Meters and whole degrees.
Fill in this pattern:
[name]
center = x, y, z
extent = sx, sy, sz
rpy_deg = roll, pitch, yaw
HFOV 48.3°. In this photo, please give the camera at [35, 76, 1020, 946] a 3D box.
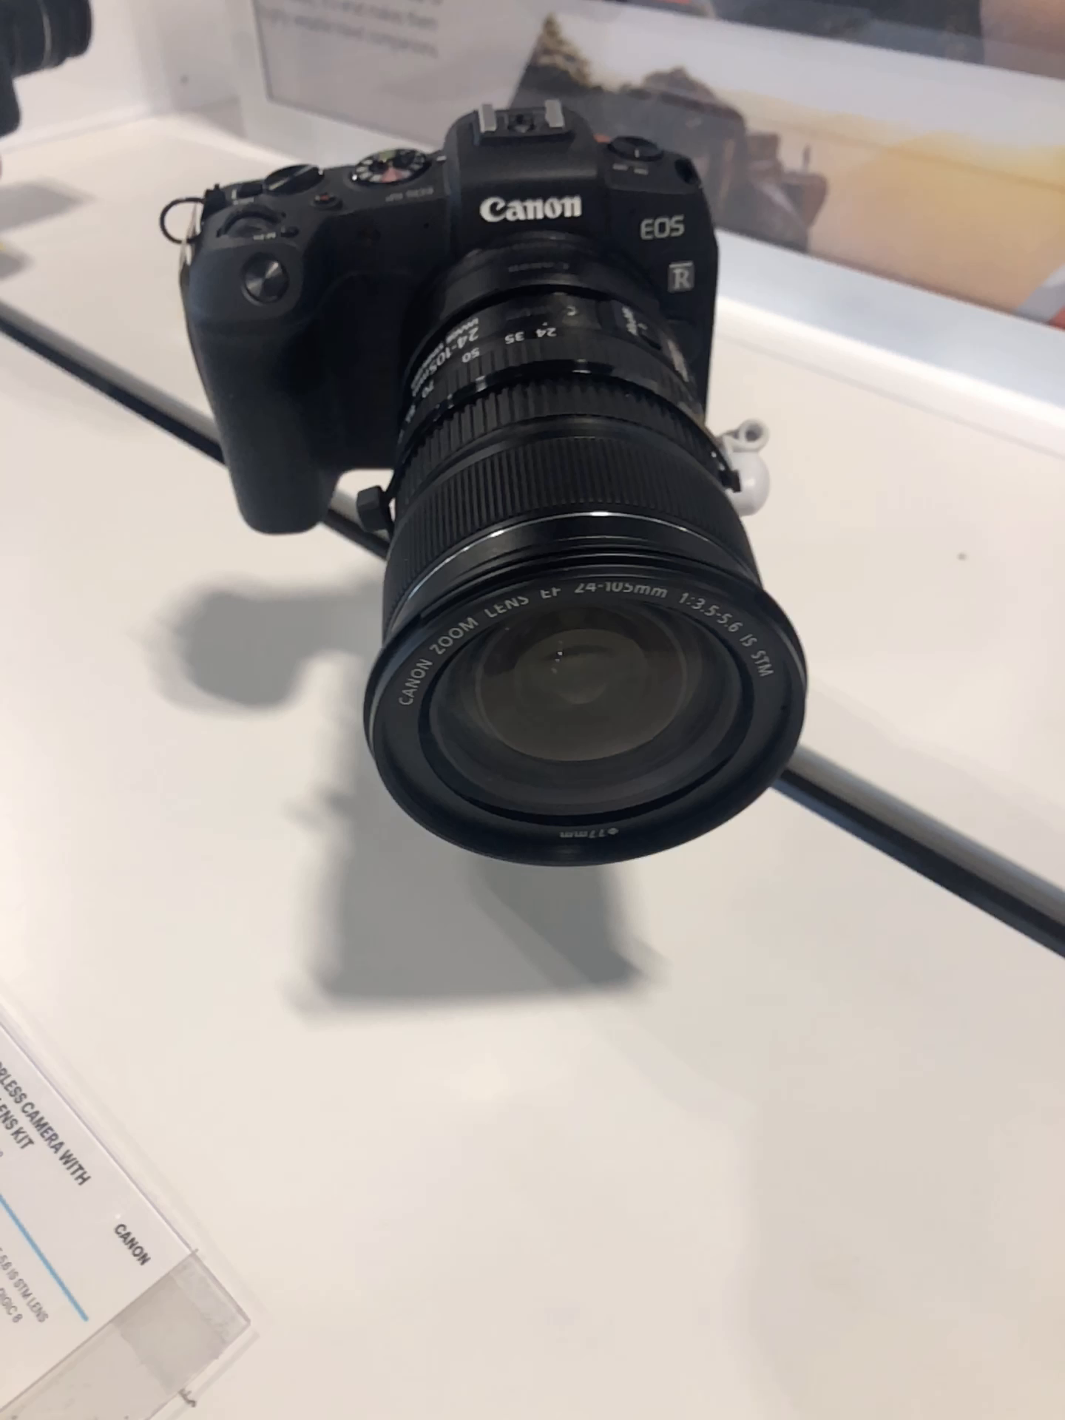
[camera]
center = -0.007, -0.060, 0.263
extent = 0.136, 0.089, 0.191
rpy_deg = -5, 43, -3
